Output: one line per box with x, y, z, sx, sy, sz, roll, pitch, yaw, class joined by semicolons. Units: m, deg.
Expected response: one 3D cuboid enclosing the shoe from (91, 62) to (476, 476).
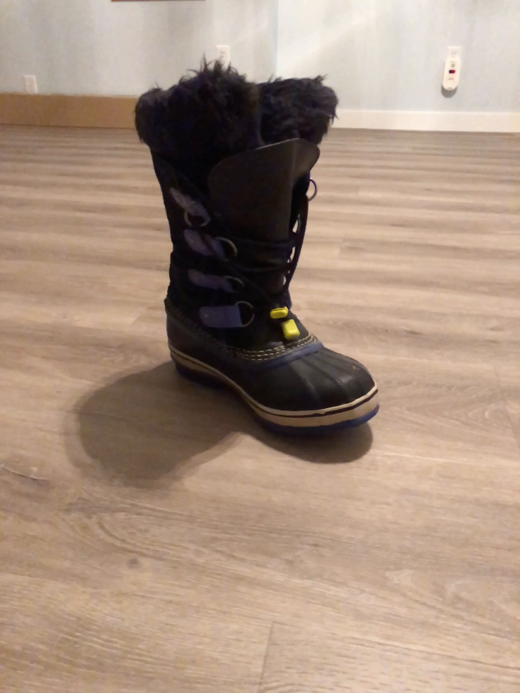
0.009;-0.091;0.492;0.170;0.269;0.241;-22;33;-39;shoe
